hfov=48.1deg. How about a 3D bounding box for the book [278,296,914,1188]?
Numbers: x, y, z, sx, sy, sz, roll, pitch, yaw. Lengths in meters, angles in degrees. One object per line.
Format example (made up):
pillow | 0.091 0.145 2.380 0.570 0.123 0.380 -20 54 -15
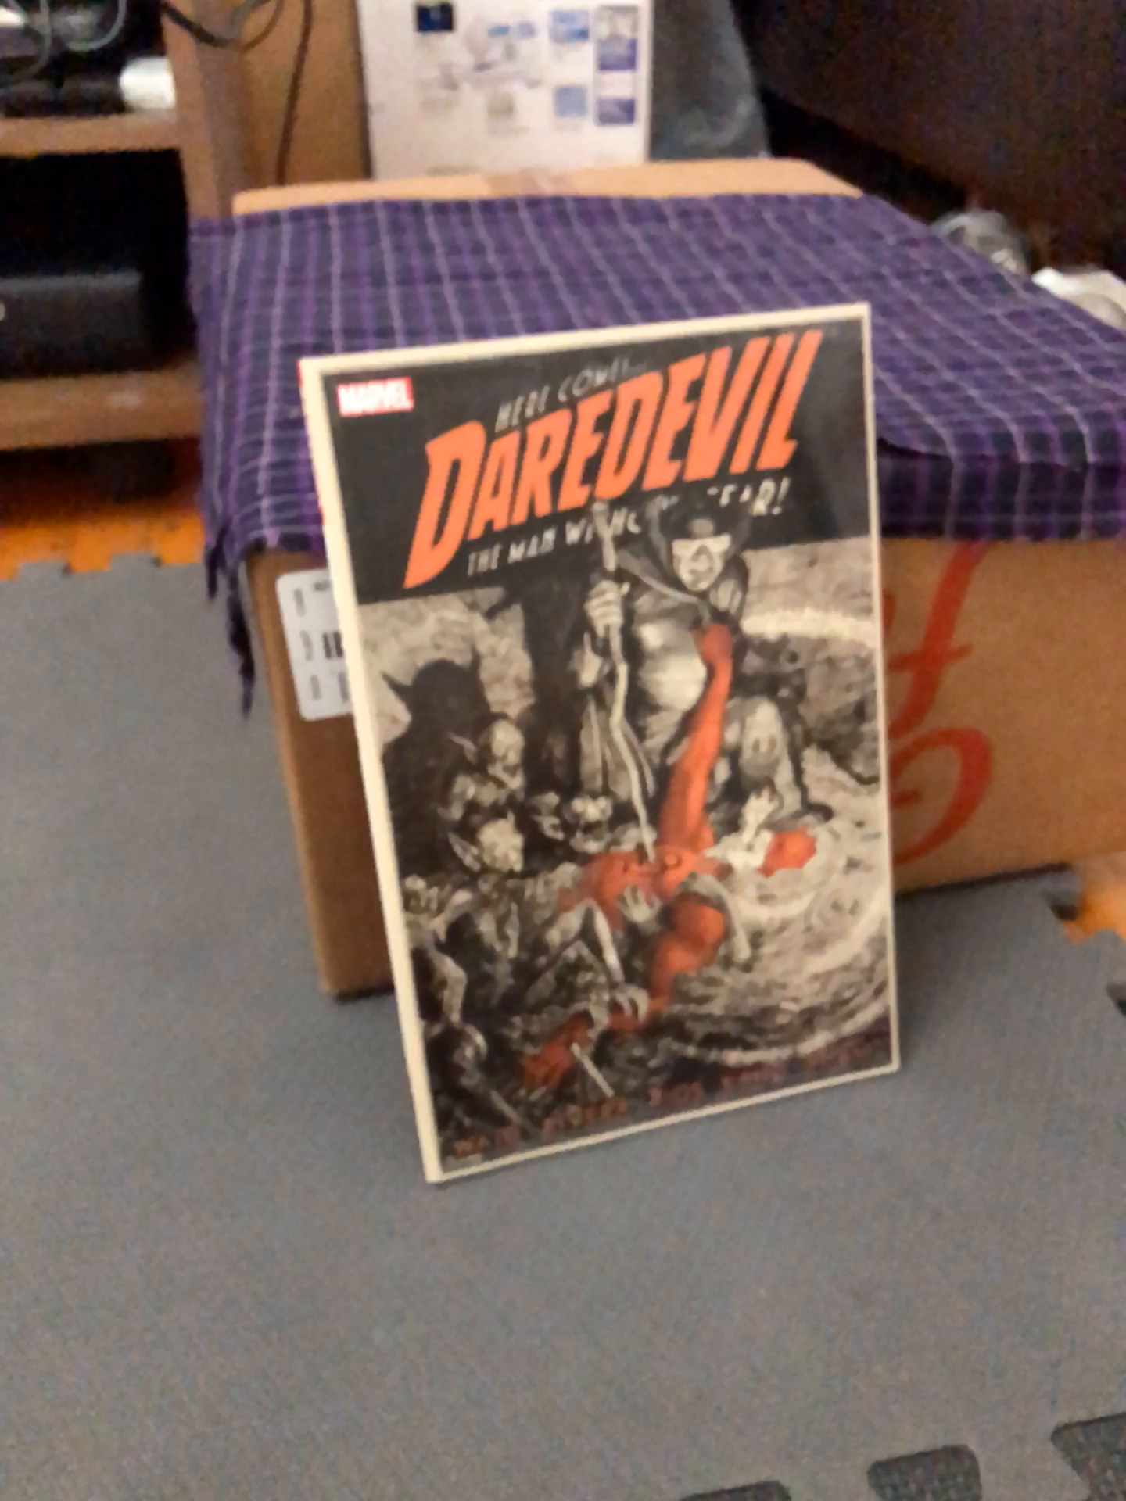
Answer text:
book | 0.019 -0.001 0.359 0.160 0.229 0.020 -10 15 -13
